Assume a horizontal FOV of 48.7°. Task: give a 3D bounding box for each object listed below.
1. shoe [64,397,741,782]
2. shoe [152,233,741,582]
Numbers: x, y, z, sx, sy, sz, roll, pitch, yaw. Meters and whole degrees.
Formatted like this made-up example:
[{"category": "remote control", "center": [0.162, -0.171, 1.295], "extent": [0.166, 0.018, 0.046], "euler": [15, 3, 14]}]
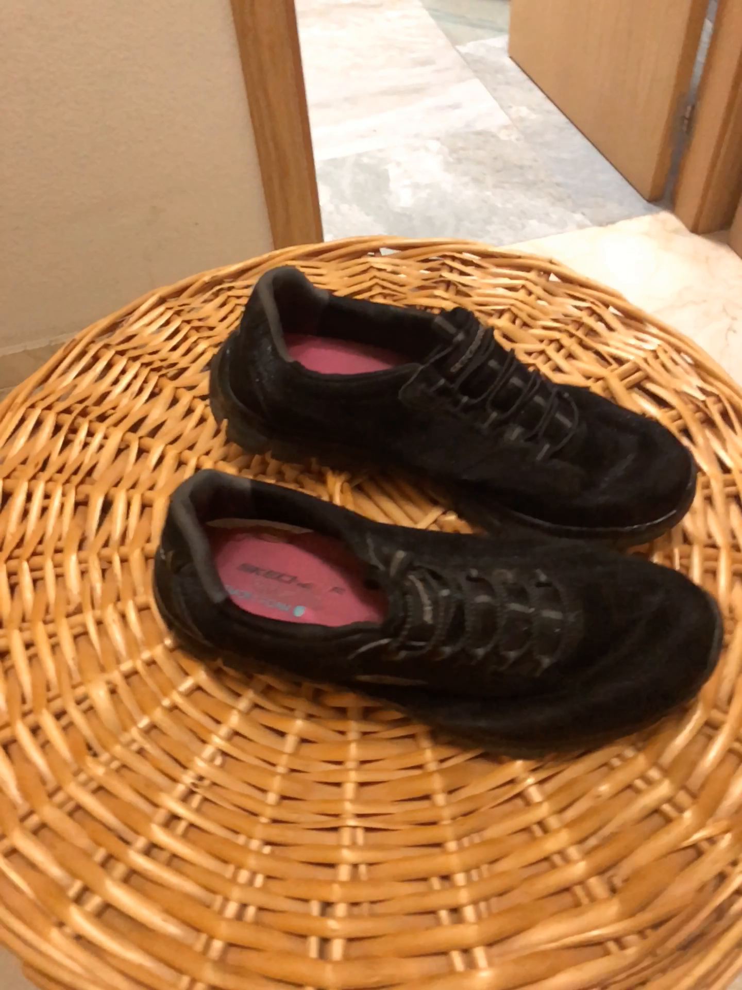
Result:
[{"category": "shoe", "center": [0.025, 0.036, 0.359], "extent": [0.264, 0.079, 0.118], "euler": [5, 52, 9]}, {"category": "shoe", "center": [0.042, -0.052, 0.423], "extent": [0.264, 0.079, 0.118], "euler": [11, 53, 13]}]
